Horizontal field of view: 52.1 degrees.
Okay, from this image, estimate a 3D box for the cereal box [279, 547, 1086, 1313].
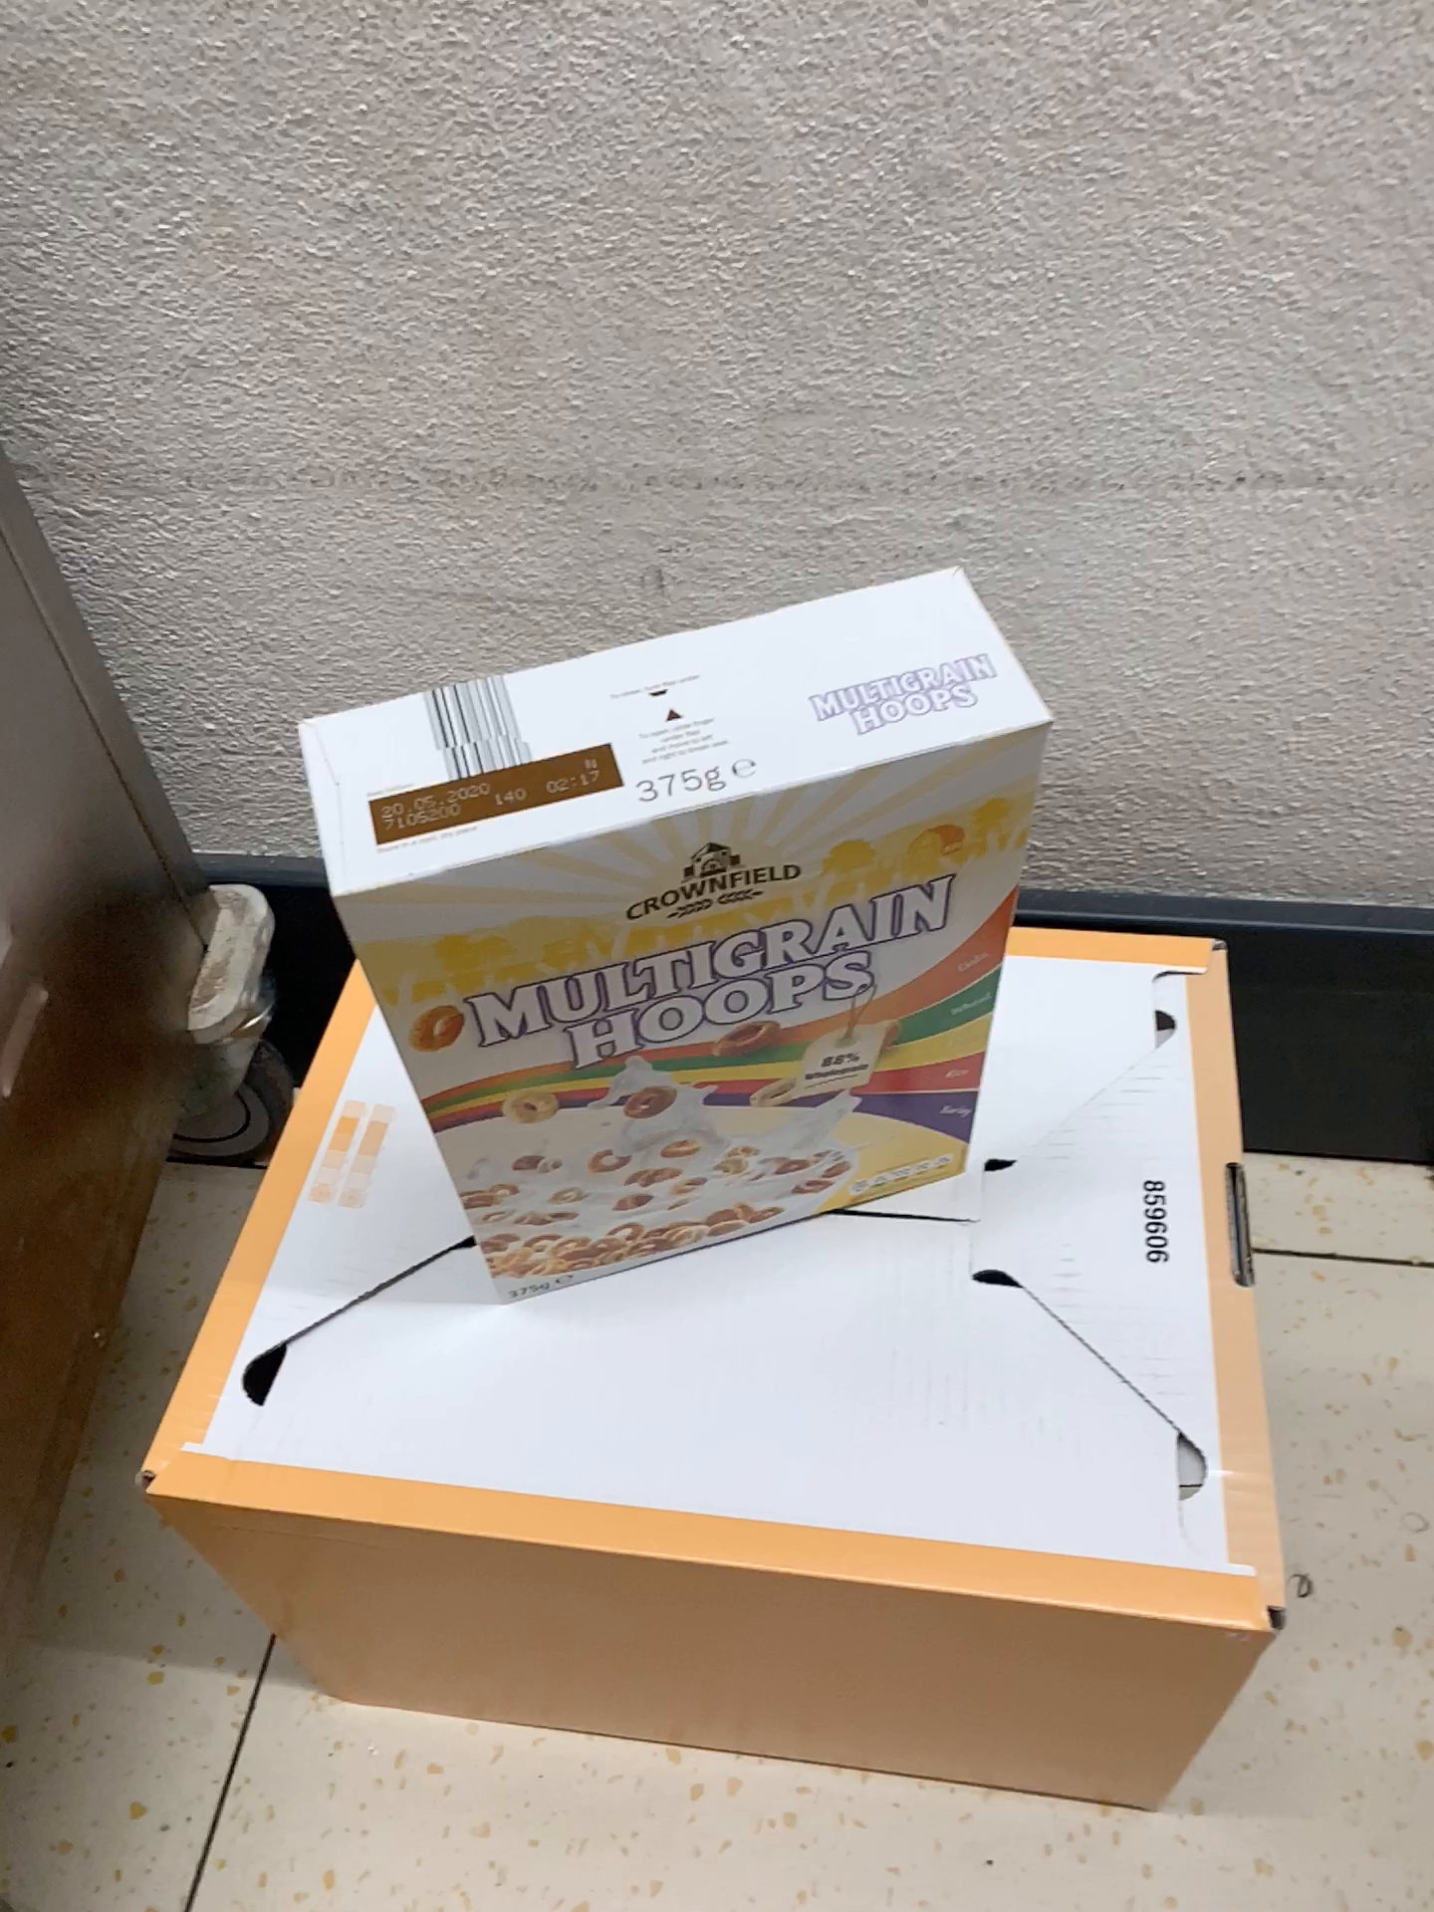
[{"bbox_3d":[-0.006,0.009,0.484,0.200,0.248,0.071,-15,55,-8],"label":"cereal box"}]
